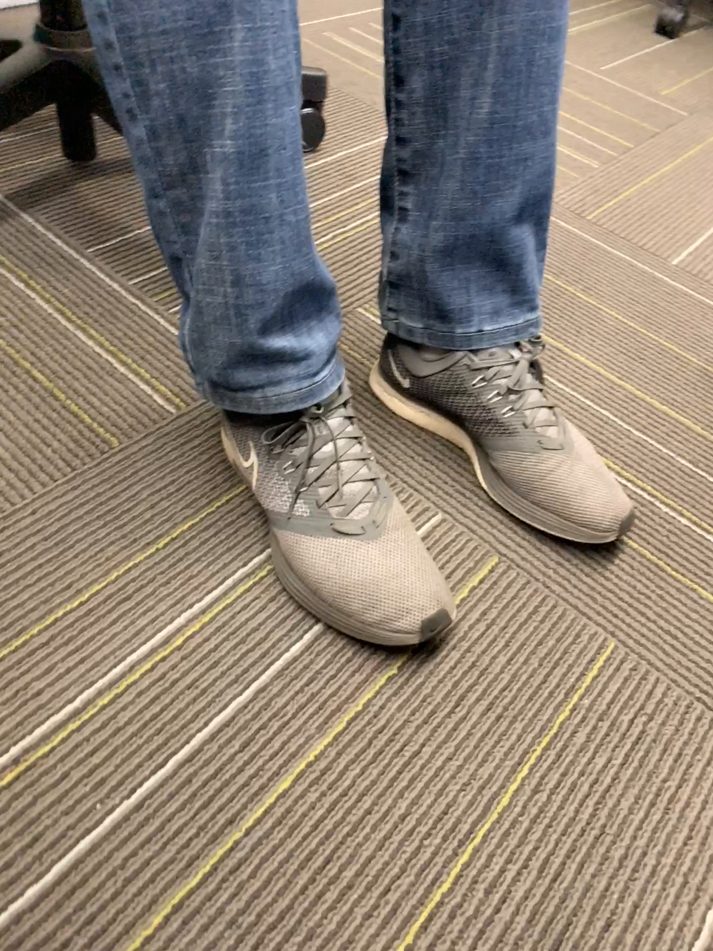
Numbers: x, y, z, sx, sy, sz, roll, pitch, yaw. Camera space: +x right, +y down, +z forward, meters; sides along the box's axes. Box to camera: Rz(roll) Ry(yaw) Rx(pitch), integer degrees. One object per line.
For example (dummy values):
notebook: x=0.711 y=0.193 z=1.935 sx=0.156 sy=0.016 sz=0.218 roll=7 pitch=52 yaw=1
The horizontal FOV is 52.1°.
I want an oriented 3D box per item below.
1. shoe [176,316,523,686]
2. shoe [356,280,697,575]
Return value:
shoe: x=-0.021 y=0.002 z=0.576 sx=0.132 sy=0.078 sz=0.285 roll=-21 pitch=56 yaw=-27
shoe: x=0.145 y=-0.058 z=0.678 sx=0.124 sy=0.078 sz=0.287 roll=-29 pitch=60 yaw=-32
